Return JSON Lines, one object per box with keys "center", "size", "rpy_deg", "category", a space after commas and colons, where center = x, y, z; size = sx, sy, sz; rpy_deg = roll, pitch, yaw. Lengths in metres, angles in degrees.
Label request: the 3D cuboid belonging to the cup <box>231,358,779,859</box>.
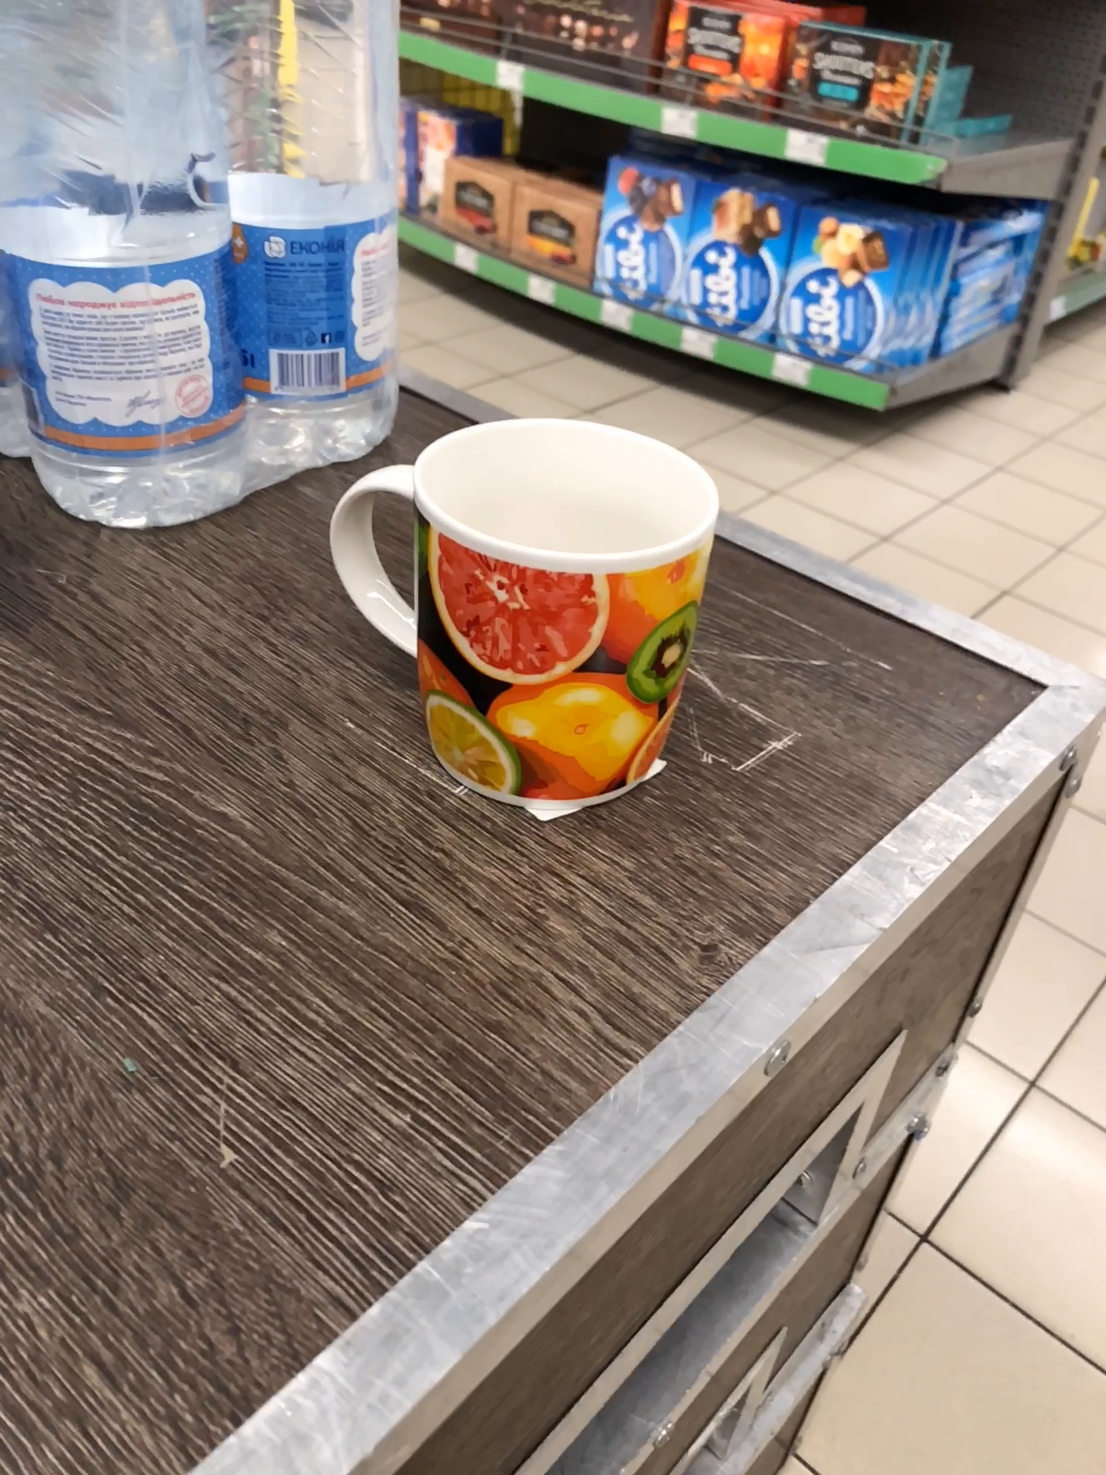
{"center": [-0.015, -0.045, 0.370], "size": [0.126, 0.085, 0.091], "rpy_deg": [23, 40, 22], "category": "cup"}
